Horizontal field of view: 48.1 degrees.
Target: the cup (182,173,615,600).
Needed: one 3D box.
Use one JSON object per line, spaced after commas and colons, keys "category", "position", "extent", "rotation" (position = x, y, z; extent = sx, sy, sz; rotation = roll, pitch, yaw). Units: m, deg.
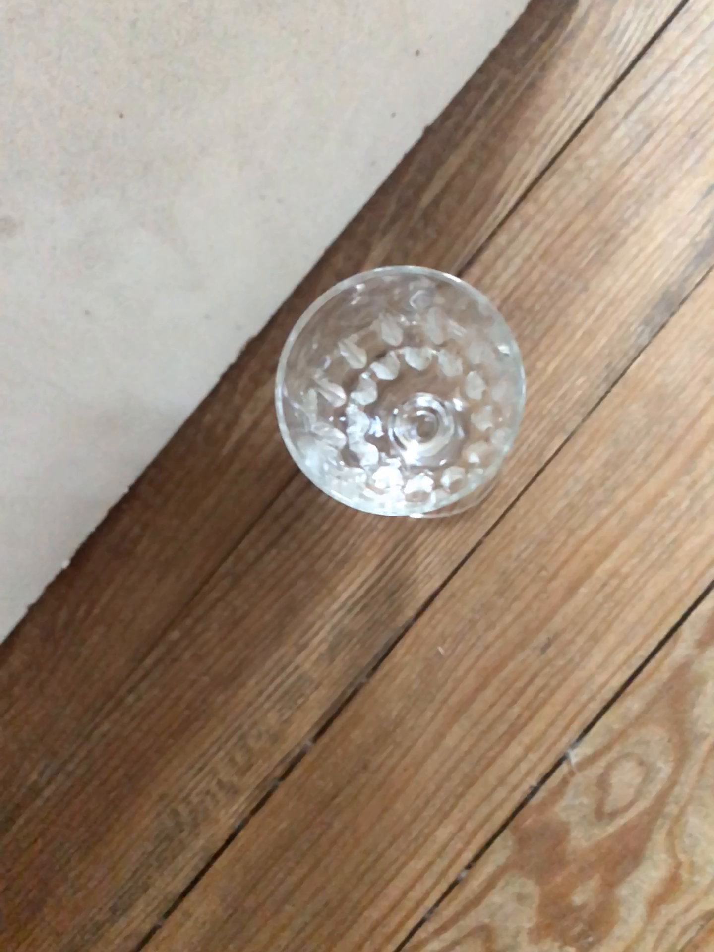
{"category": "cup", "position": [0.016, -0.017, 0.239], "extent": [0.070, 0.120, 0.070], "rotation": [-1, 85, 8]}
